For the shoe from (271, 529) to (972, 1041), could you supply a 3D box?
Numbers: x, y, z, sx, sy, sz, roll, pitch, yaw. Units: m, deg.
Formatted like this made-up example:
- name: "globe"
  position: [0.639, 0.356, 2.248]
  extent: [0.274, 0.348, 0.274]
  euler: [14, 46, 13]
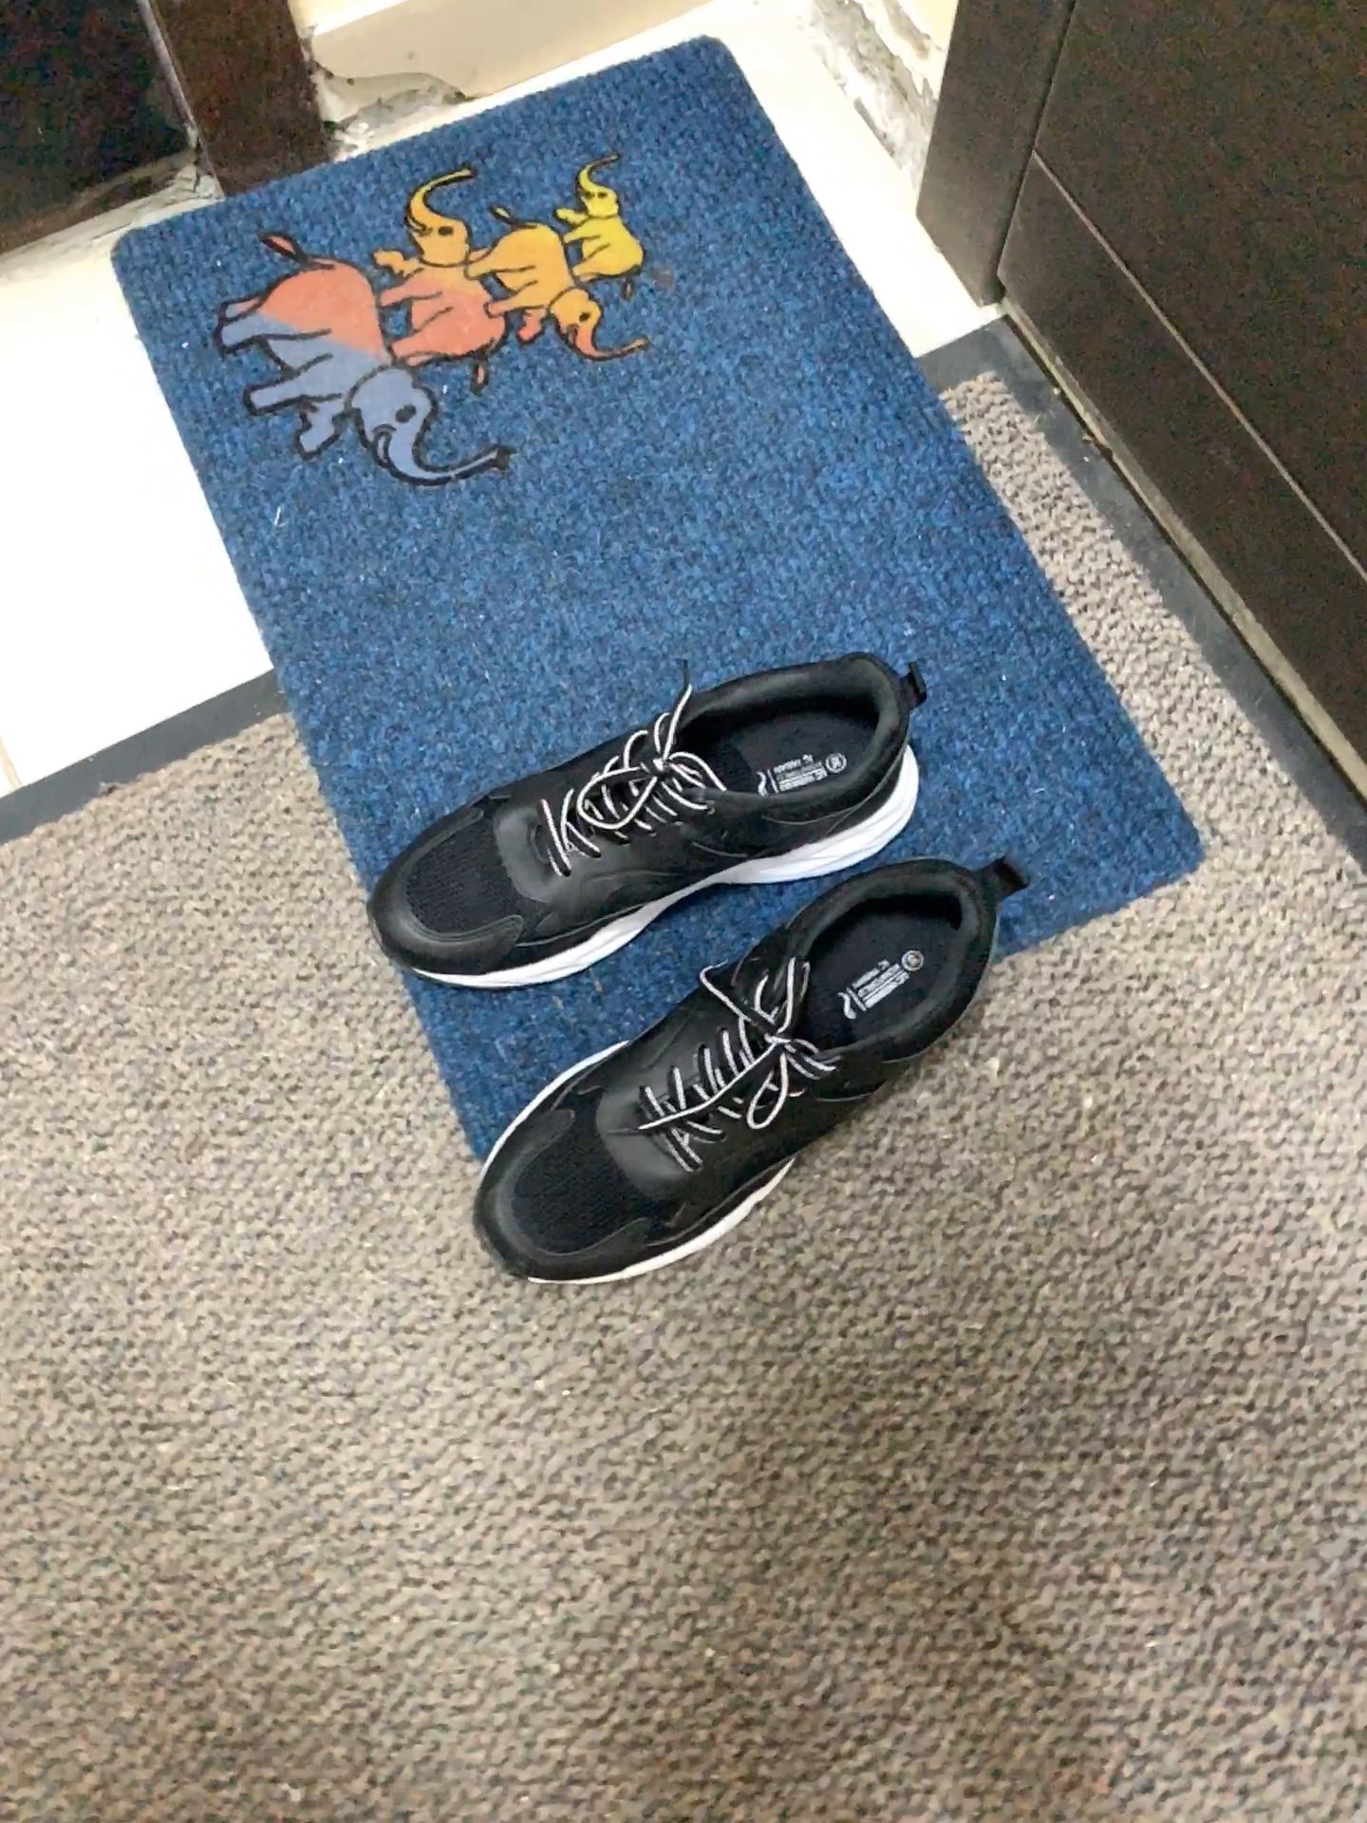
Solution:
- name: "shoe"
  position: [-0.025, -0.052, 0.609]
  extent: [0.260, 0.100, 0.110]
  euler: [-21, 73, -7]

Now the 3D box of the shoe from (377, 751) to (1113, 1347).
- name: "shoe"
  position: [0.025, 0.059, 0.577]
  extent: [0.260, 0.100, 0.110]
  euler: [-30, 74, -9]
